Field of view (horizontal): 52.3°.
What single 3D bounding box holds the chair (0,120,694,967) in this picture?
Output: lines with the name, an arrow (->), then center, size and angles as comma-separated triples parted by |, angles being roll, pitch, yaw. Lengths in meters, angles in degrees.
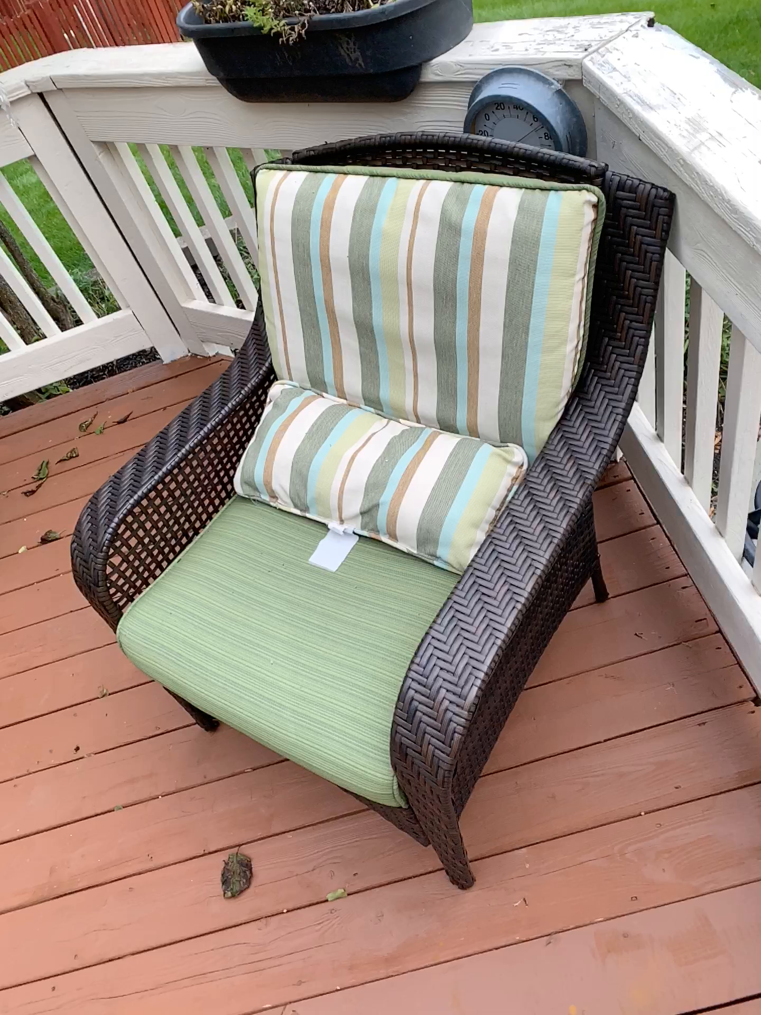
chair -> -0.064, -0.007, 1.266 | 0.813, 0.825, 0.861 | 19, 58, 33
